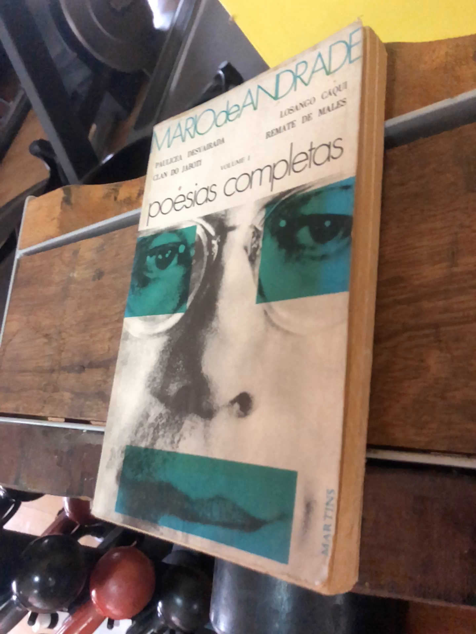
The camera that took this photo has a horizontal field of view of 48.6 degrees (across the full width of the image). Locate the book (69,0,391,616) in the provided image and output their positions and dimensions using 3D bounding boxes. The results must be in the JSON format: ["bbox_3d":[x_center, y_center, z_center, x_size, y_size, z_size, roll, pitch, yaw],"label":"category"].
[{"bbox_3d":[-0.009,-0.011,0.225,0.141,0.020,0.210,-5,74,42],"label":"book"}]
